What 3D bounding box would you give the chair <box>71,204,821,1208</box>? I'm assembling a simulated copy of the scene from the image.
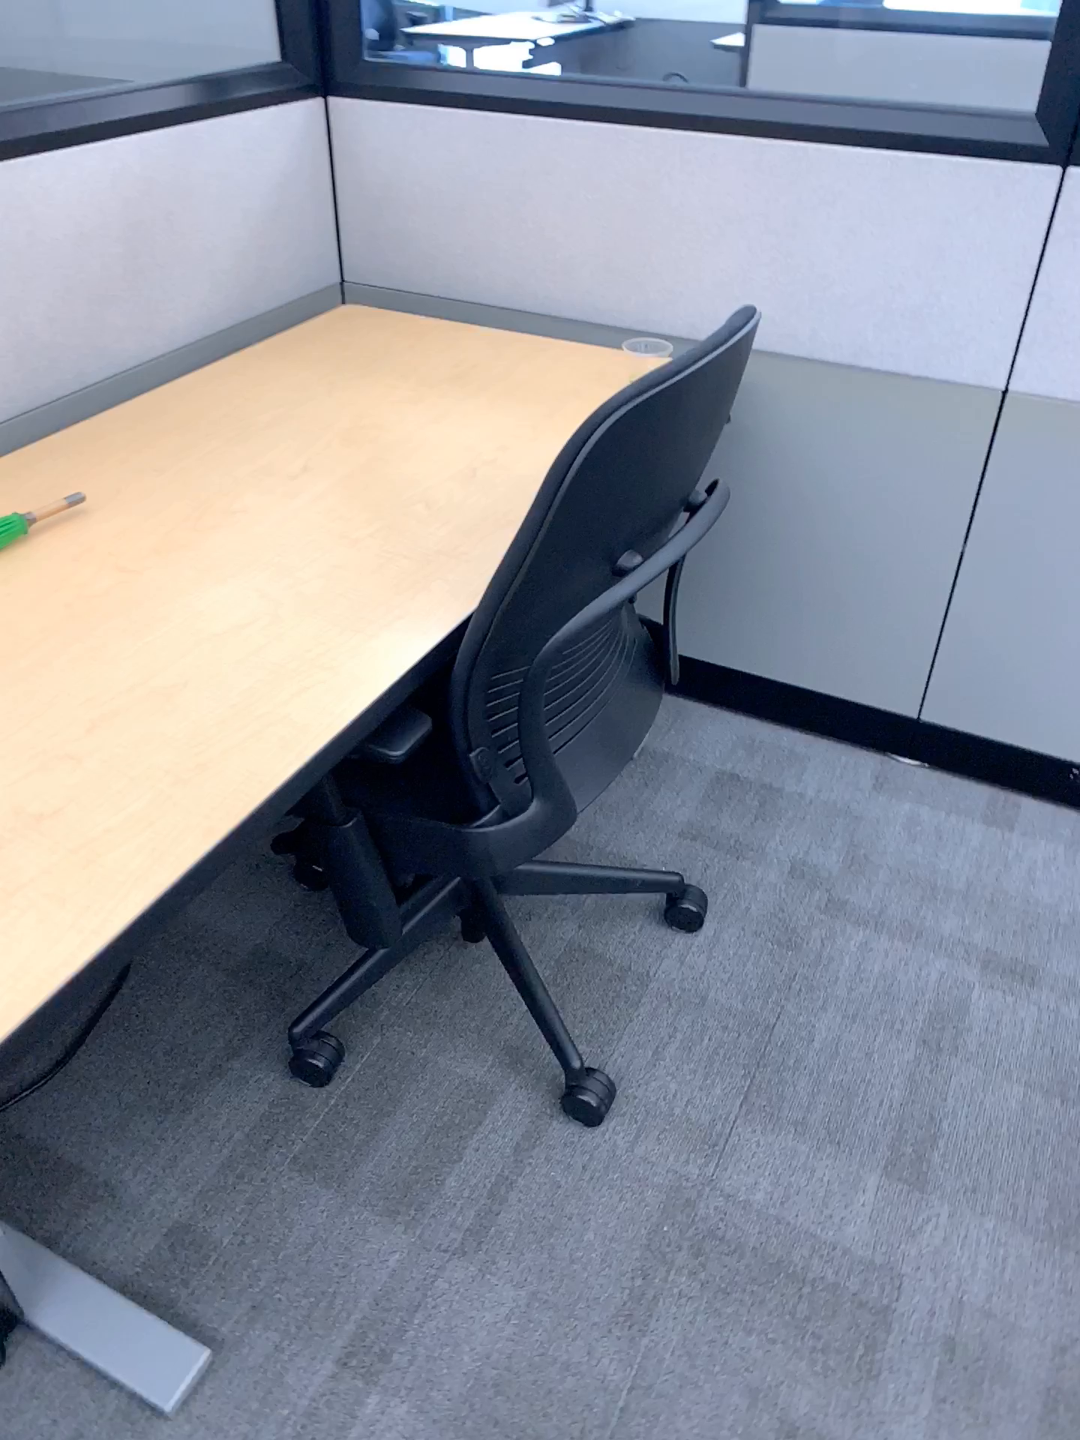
[{"bbox_3d":[-0.045,-0.035,1.414,0.511,0.994,0.673,15,39,18],"label":"chair"}]
